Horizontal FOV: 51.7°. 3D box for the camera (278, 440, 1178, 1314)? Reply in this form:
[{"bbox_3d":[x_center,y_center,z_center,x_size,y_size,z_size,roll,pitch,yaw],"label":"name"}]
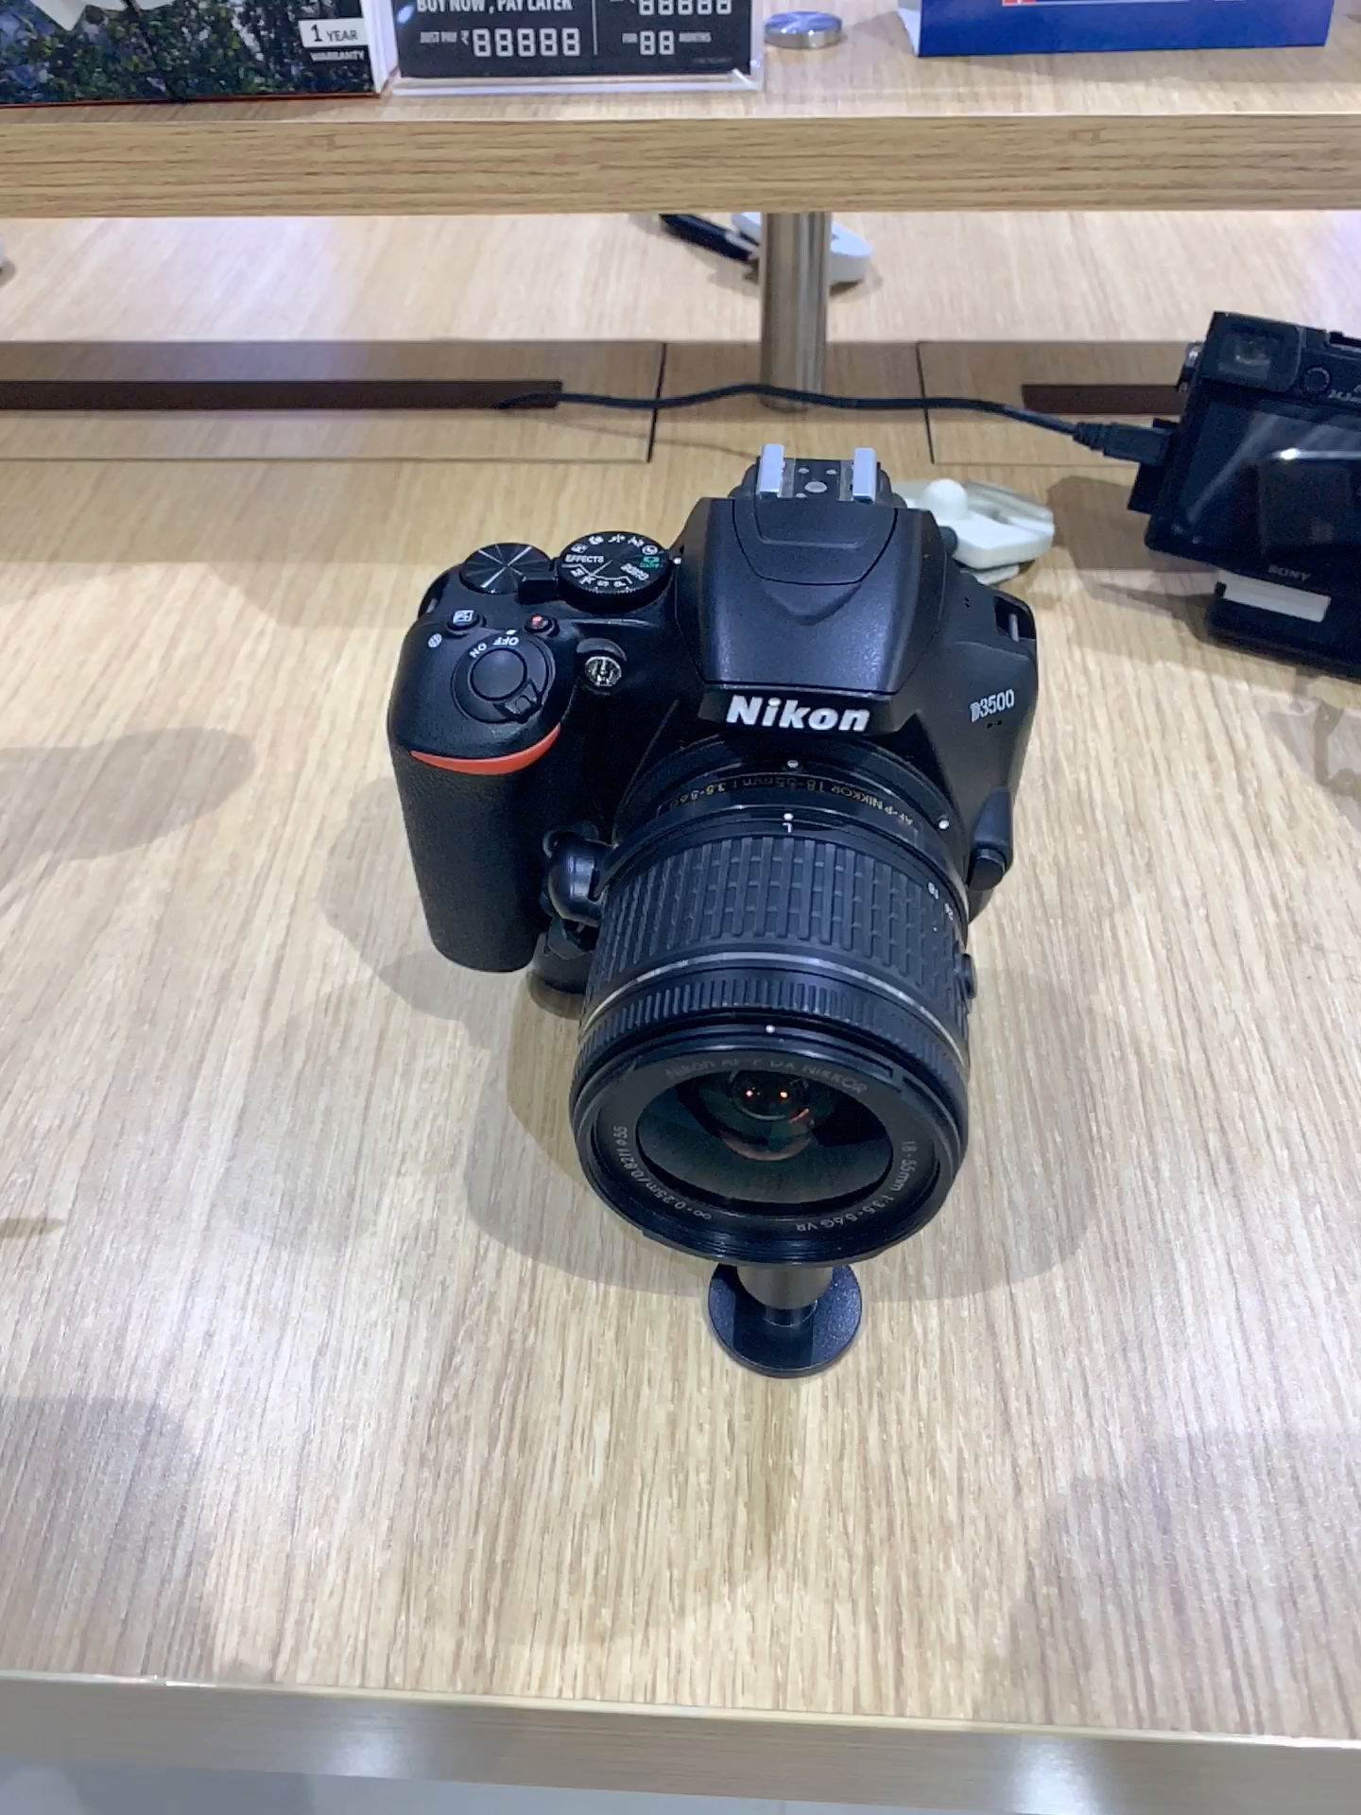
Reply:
[{"bbox_3d":[0.009,-0.007,0.228,0.102,0.091,0.104,2,46,4],"label":"camera"}]
